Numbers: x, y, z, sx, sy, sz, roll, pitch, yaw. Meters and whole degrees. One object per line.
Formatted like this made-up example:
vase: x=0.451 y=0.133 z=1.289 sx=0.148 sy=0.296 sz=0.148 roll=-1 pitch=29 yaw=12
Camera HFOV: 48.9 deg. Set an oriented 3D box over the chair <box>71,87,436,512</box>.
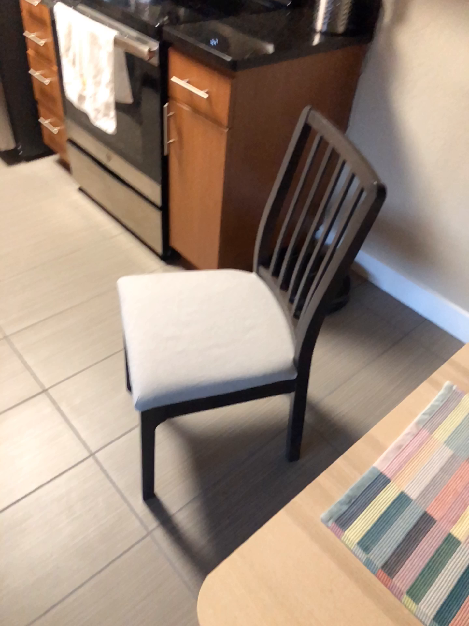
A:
chair: x=-0.048 y=-0.029 z=1.306 sx=0.590 sy=0.846 sz=0.582 roll=-6 pitch=44 yaw=-14
